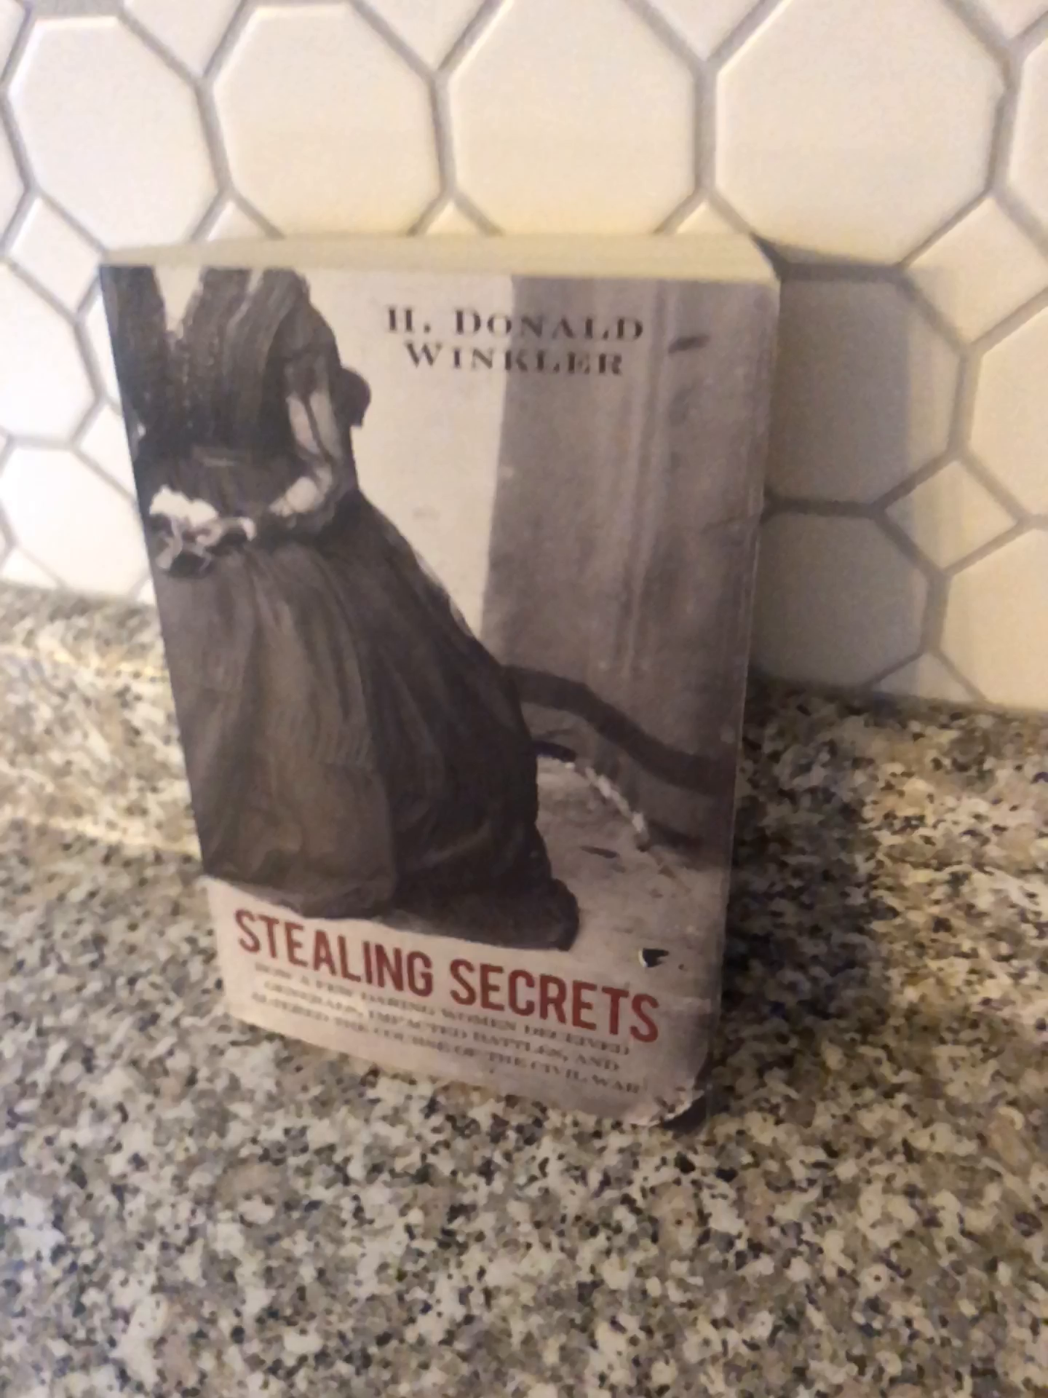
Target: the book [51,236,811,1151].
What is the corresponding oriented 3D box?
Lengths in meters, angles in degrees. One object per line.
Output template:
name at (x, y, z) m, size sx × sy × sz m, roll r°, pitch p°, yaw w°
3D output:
book at (-0.019, 0.003, 0.307) m, size 0.161 × 0.225 × 0.041 m, roll 8°, pitch 29°, yaw 18°
